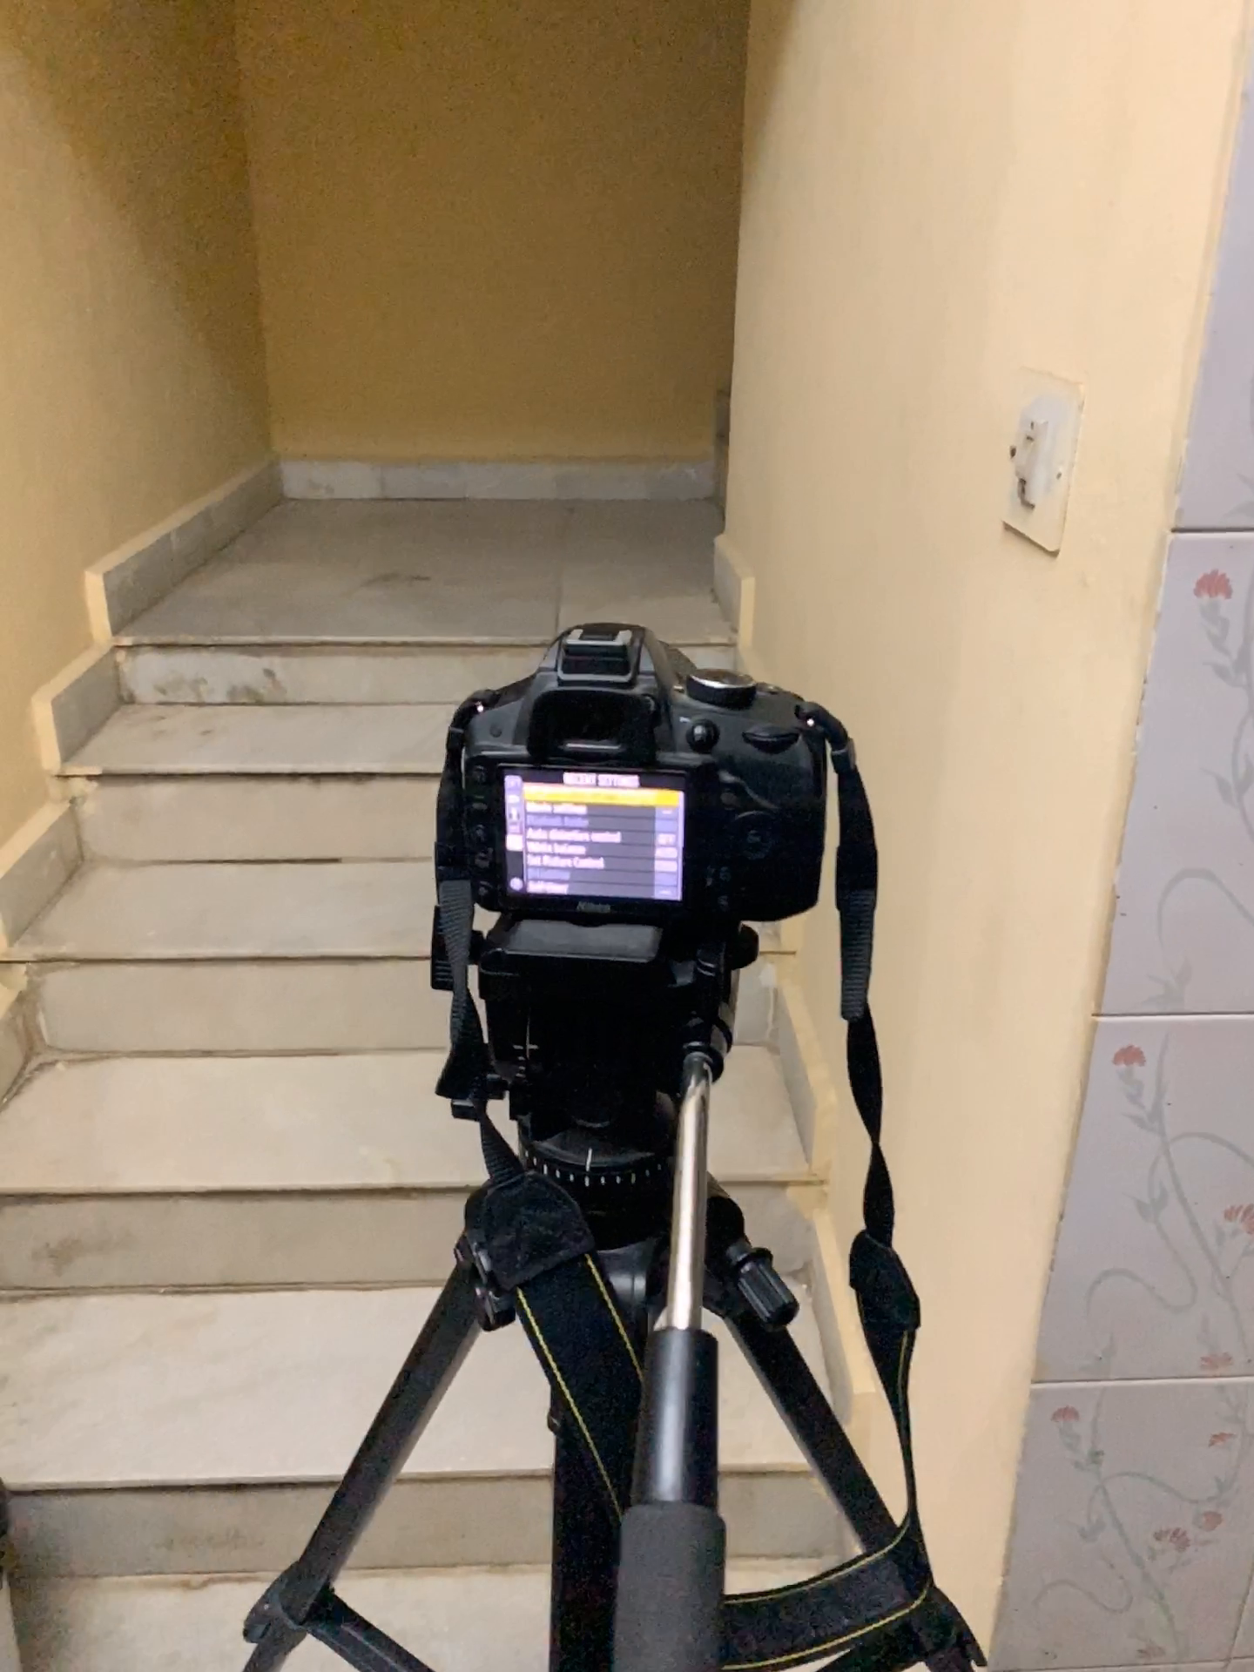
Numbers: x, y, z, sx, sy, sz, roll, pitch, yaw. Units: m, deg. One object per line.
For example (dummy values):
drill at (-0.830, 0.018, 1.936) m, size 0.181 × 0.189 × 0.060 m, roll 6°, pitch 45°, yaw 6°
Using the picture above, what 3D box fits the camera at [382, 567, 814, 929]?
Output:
camera at (-0.004, -0.039, 0.470) m, size 0.134 × 0.090 × 0.130 m, roll 3°, pitch 22°, yaw 5°
